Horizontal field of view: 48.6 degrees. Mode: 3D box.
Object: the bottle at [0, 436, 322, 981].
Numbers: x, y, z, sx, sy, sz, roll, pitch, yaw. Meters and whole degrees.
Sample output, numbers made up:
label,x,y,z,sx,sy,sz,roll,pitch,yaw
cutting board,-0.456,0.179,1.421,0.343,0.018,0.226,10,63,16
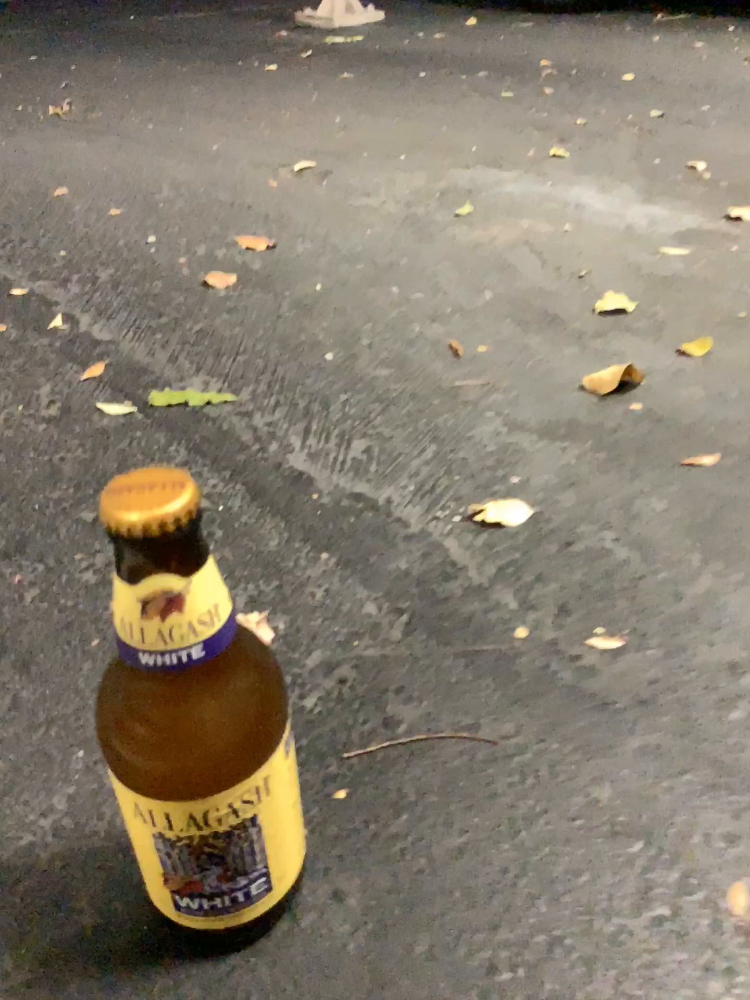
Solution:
label,x,y,z,sx,sy,sz,roll,pitch,yaw
bottle,-0.064,0.081,0.289,0.070,0.190,0.070,-1,37,1
